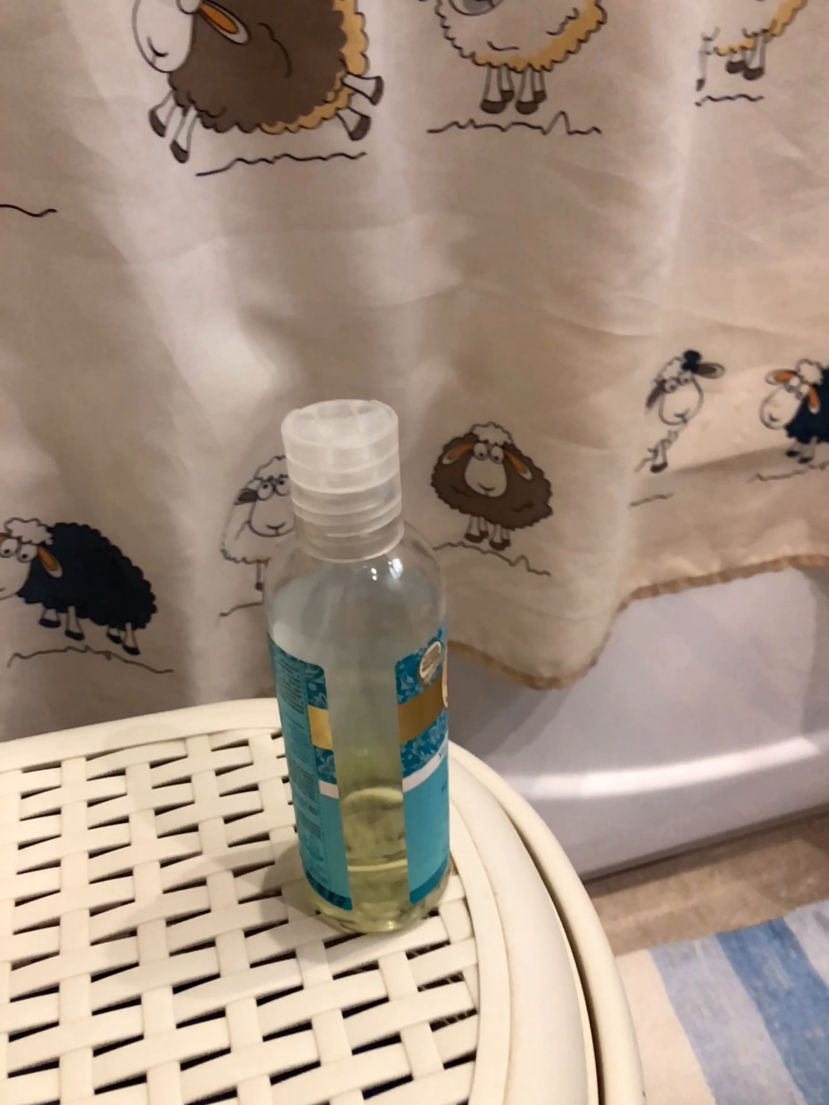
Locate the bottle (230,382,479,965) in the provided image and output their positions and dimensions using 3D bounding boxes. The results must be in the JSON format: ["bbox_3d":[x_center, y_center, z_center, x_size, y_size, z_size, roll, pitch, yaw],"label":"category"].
[{"bbox_3d":[-0.014,0.038,0.243,0.045,0.153,0.046,-1,33,0],"label":"bottle"}]
